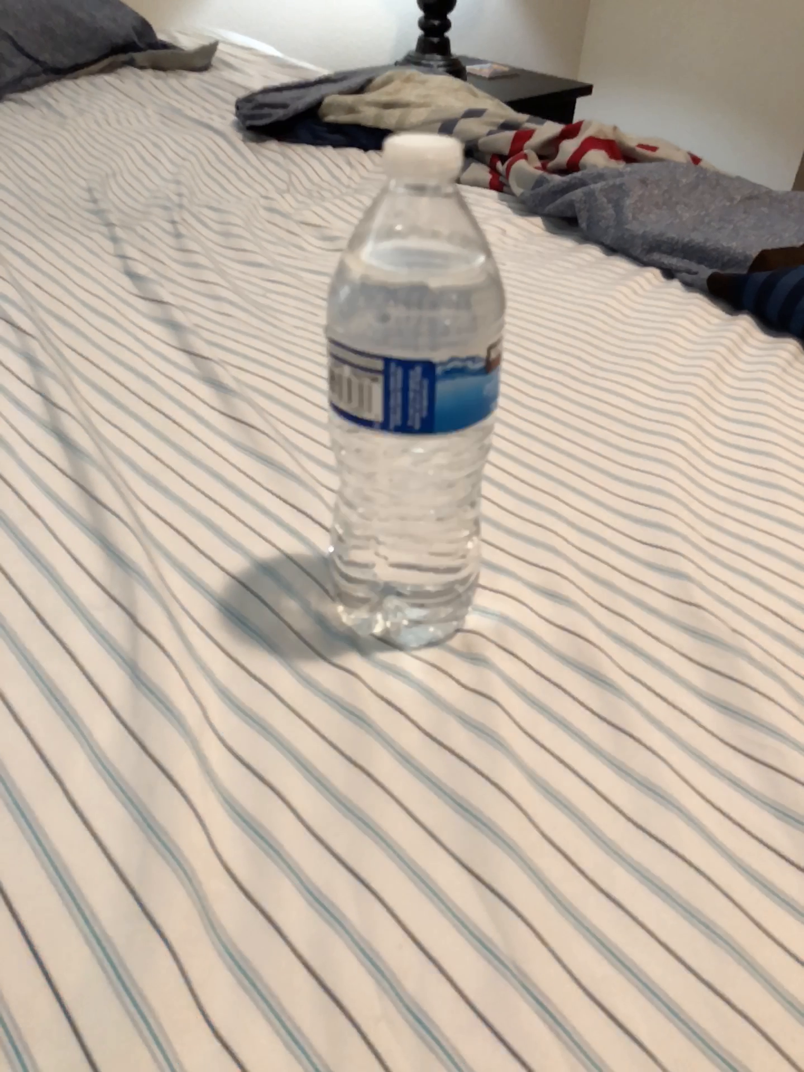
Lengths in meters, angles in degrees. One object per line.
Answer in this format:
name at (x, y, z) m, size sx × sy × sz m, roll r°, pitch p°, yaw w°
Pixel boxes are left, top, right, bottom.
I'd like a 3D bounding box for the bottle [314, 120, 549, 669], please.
bottle at (0.007, -0.047, 0.349) m, size 0.070 × 0.199 × 0.070 m, roll 3°, pitch 38°, yaw -2°
